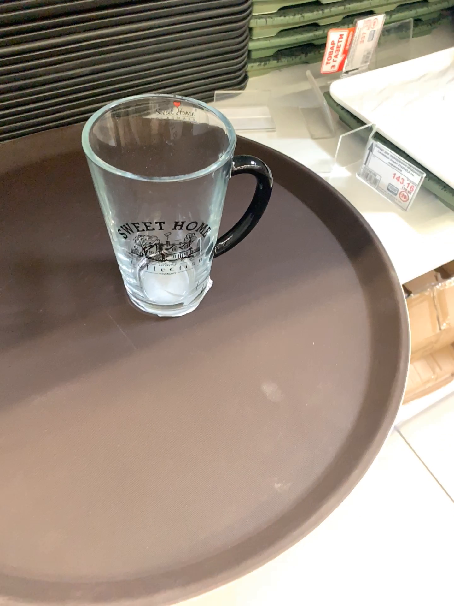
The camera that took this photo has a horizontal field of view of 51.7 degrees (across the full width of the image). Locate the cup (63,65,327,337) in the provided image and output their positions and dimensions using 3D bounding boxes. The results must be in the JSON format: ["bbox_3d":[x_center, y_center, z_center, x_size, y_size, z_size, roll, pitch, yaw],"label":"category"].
[{"bbox_3d":[-0.023,-0.063,0.301,0.120,0.120,0.090,-15,54,-15],"label":"cup"}]
